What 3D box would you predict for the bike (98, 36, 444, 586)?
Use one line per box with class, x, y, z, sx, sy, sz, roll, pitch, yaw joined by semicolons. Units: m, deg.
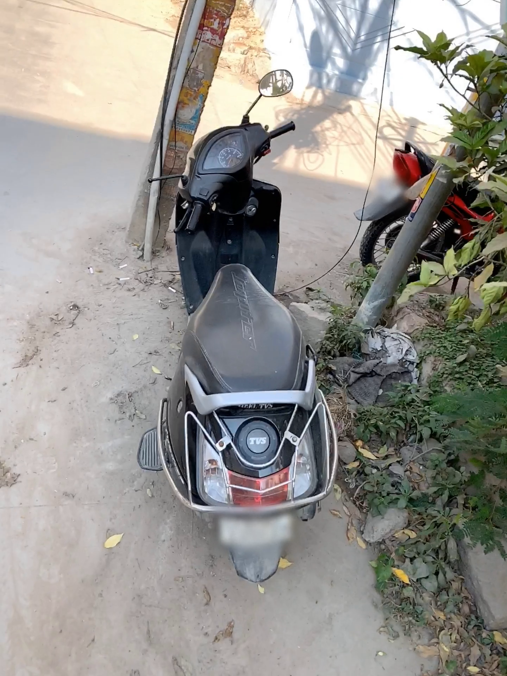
bike;-0.150;-0.252;1.911;0.618;0.943;1.826;6;42;-17
